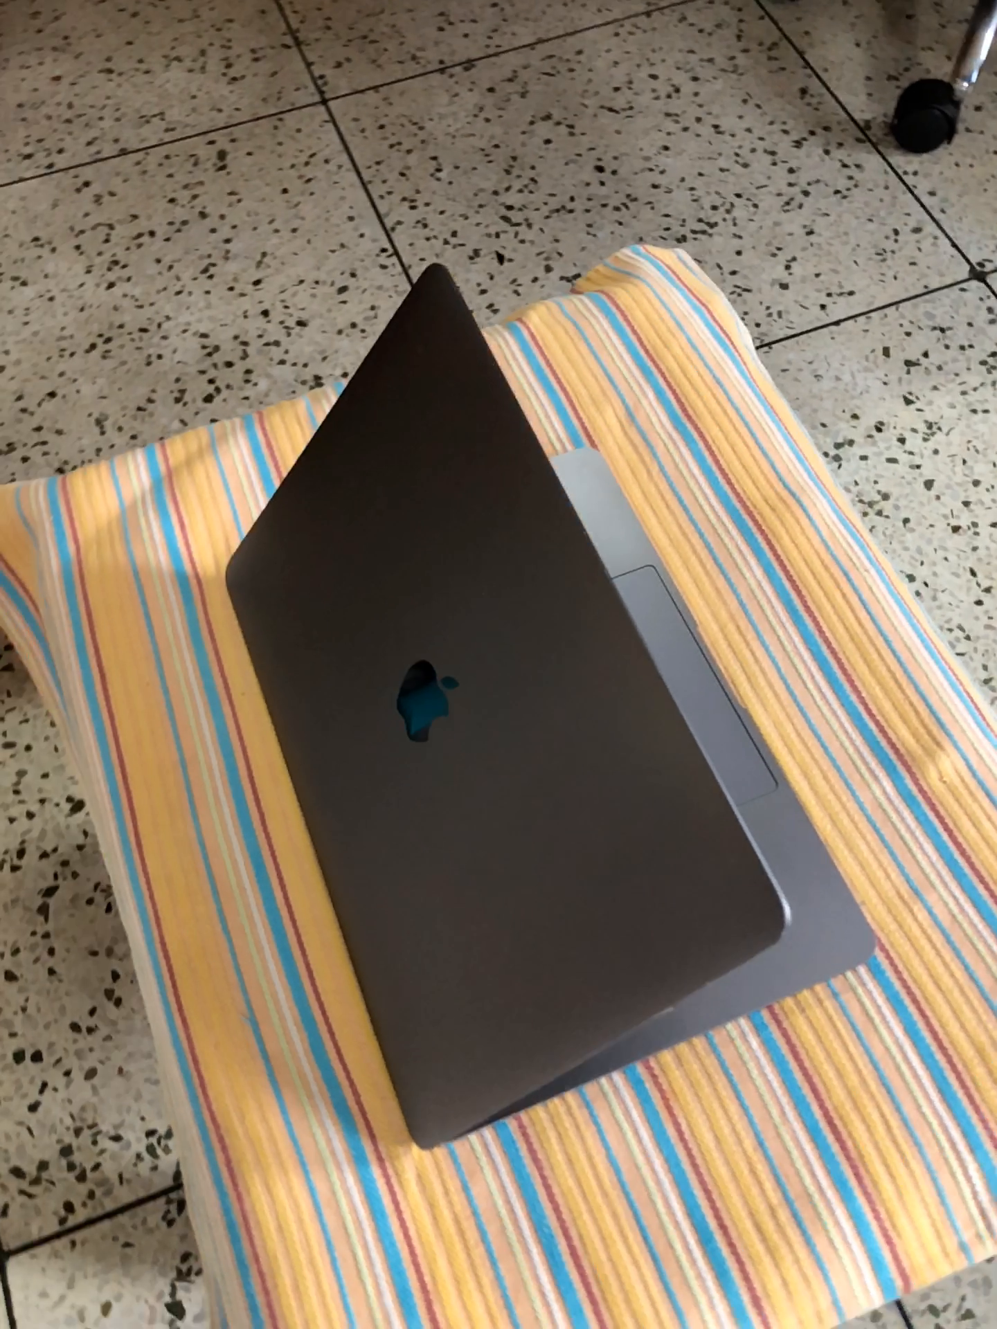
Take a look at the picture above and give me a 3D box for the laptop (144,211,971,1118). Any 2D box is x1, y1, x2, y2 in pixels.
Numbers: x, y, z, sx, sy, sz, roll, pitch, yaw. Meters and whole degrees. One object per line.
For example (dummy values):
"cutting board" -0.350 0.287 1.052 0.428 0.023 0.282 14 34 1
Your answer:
"laptop" 0.004 -0.004 0.465 0.203 0.160 0.295 -19 63 -8
